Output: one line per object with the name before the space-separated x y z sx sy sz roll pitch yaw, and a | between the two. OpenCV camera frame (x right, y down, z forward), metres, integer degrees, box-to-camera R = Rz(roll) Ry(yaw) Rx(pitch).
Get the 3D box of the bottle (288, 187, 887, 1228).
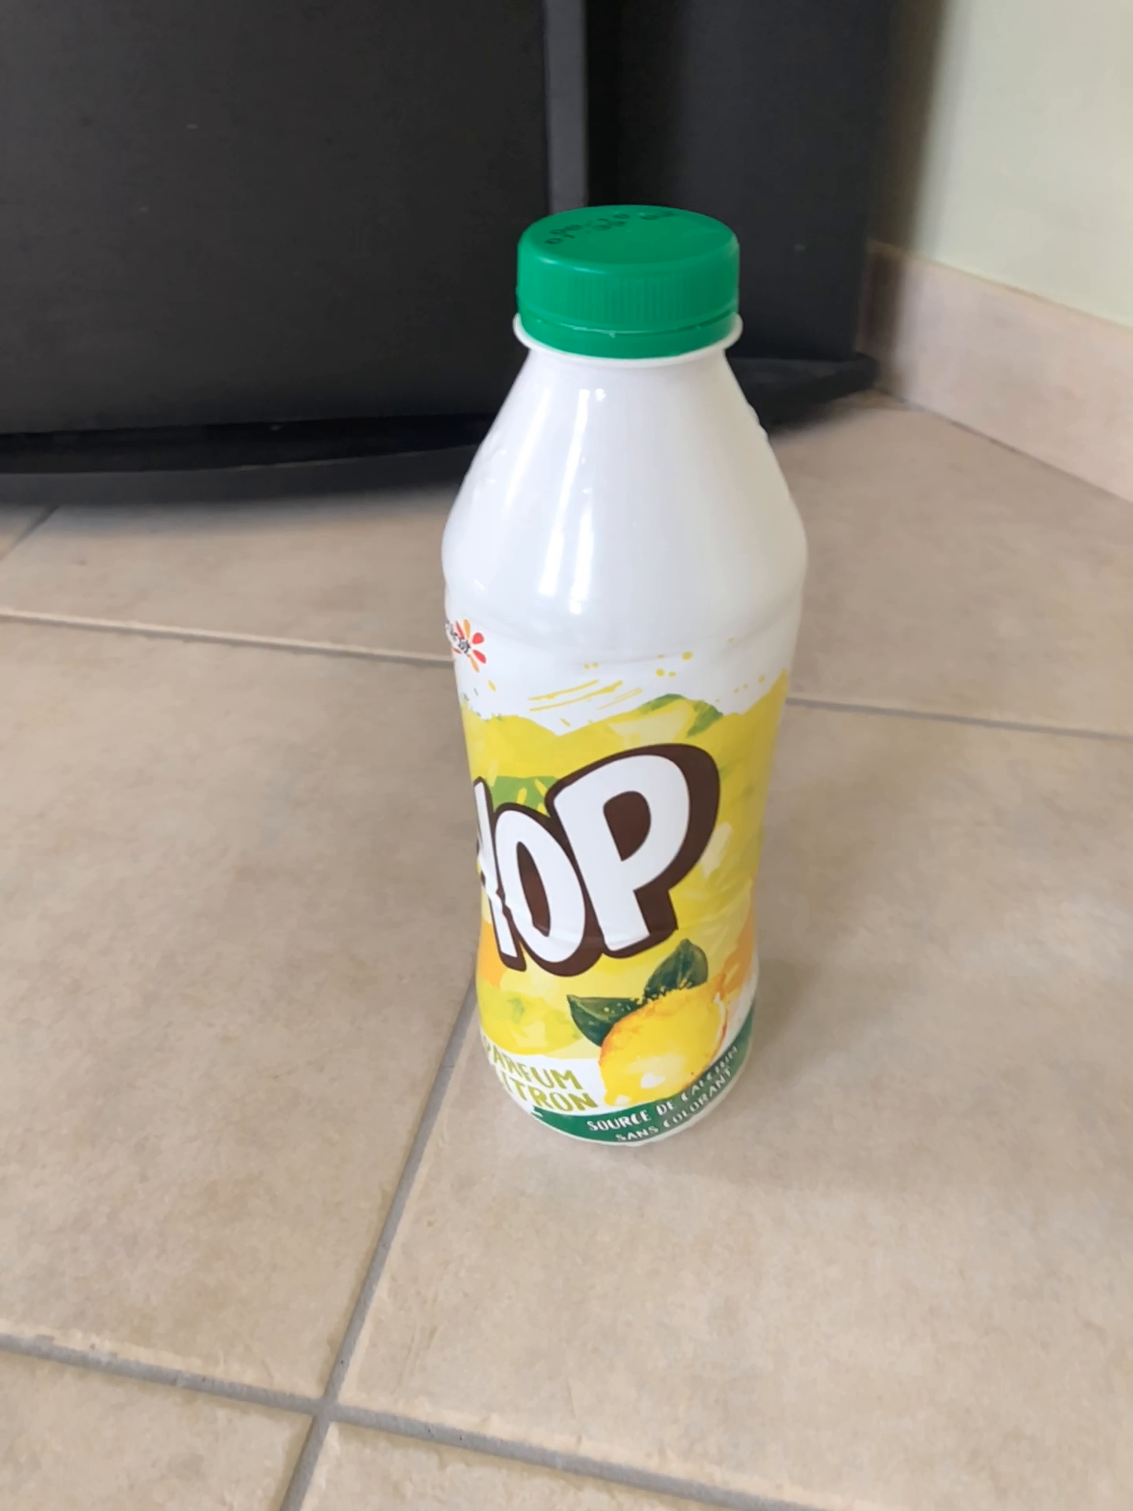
bottle | 0.009 0.000 0.301 0.080 0.229 0.080 -1 38 1
